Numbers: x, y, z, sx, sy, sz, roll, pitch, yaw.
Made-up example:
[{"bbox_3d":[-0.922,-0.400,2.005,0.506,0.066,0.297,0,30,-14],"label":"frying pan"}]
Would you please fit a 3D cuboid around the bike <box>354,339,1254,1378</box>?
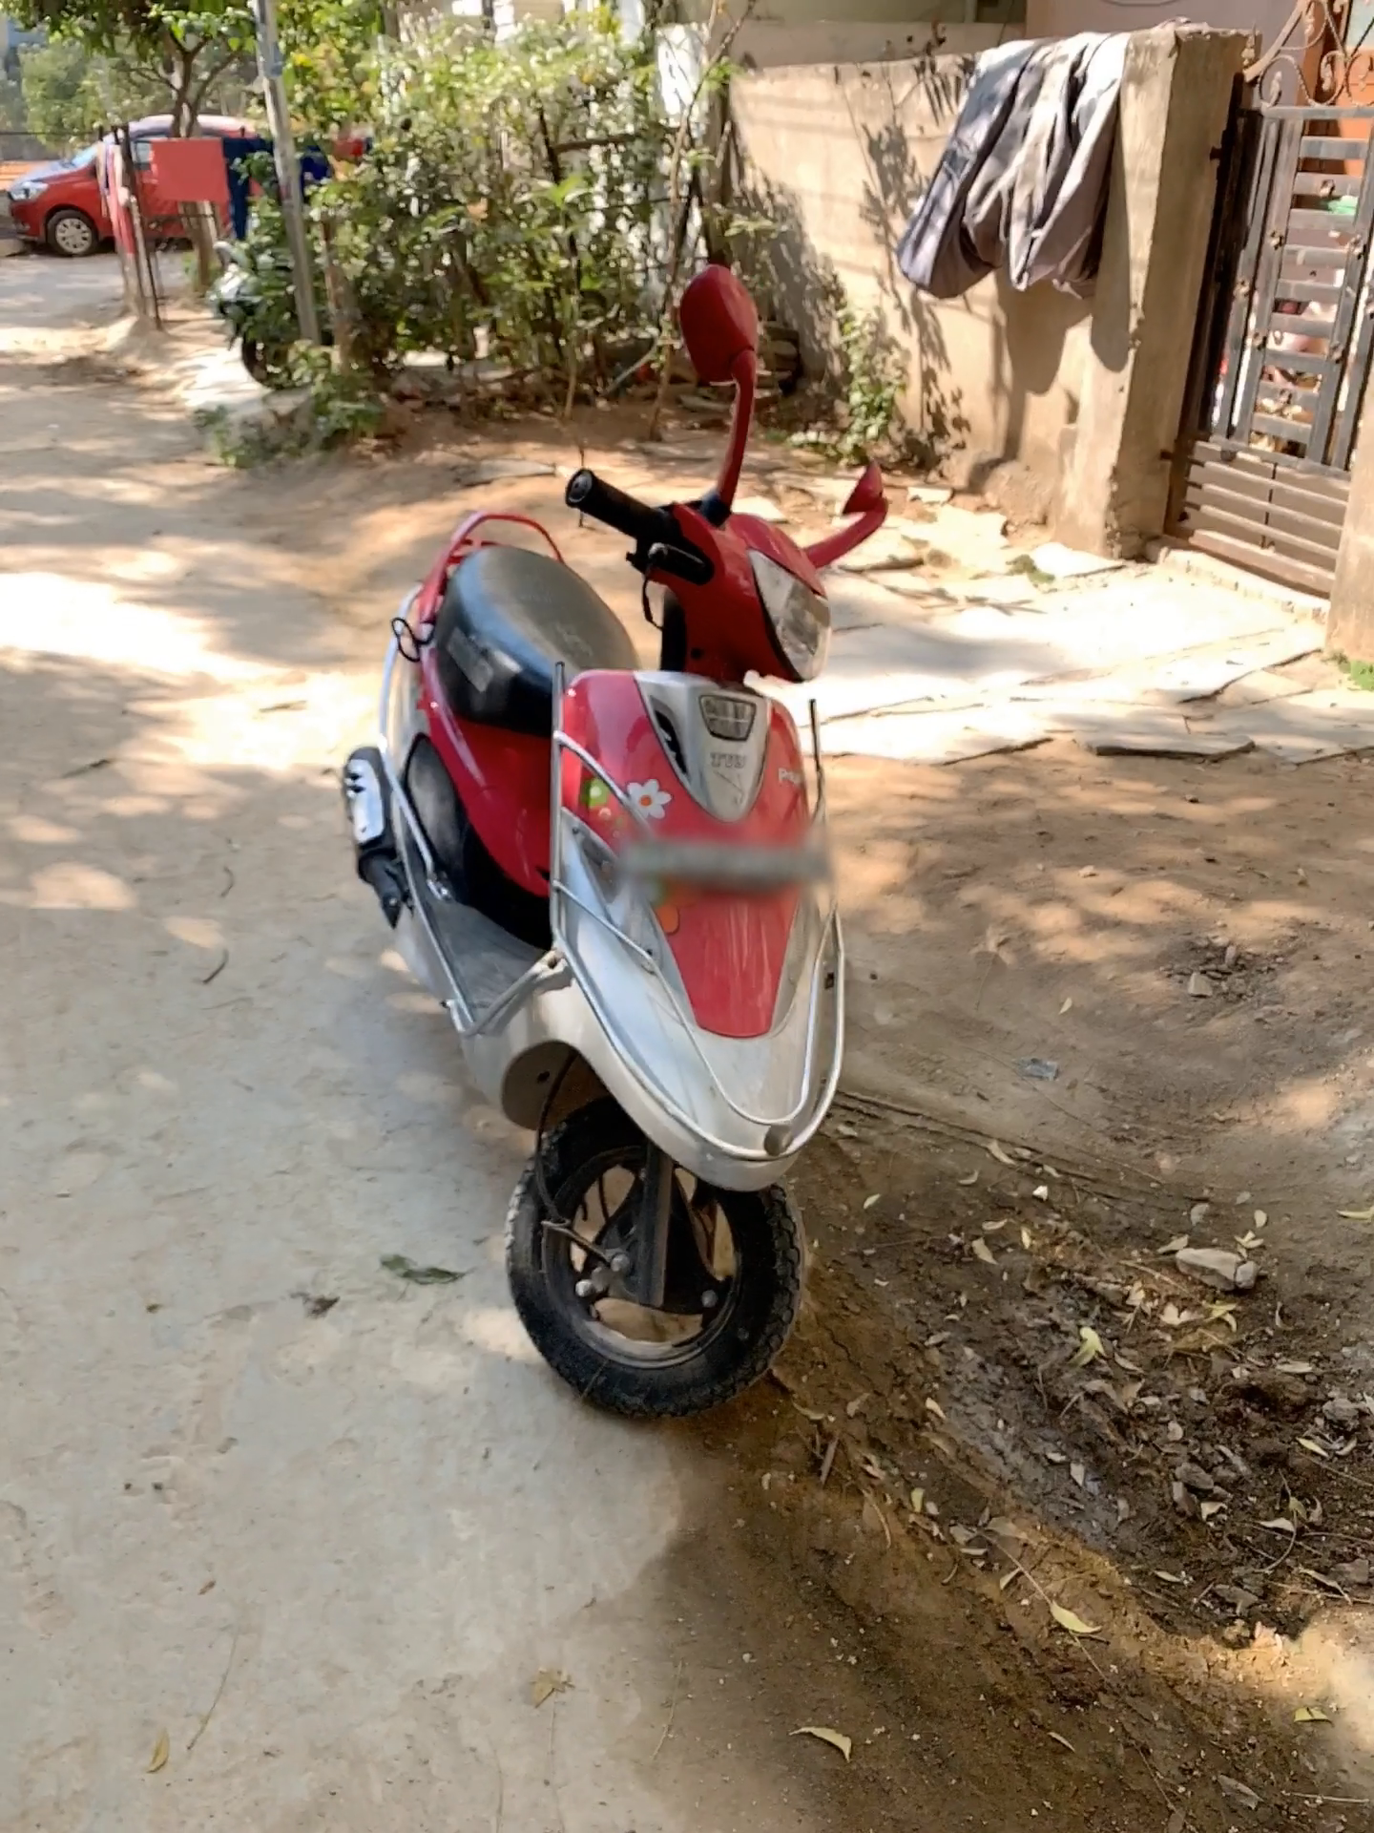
[{"bbox_3d":[-0.014,-0.242,2.124,0.484,1.037,1.500,-13,30,-21],"label":"bike"}]
